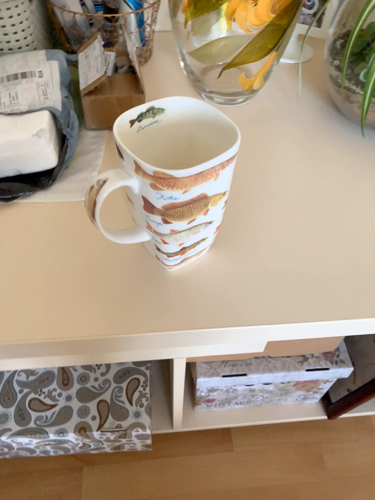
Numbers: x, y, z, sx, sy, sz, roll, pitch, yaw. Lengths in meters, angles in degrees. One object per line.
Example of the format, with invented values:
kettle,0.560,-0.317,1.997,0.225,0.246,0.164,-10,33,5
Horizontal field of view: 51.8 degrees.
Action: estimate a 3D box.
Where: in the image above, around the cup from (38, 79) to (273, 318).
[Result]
cup,-0.025,-0.046,0.333,0.140,0.129,0.101,-28,57,-23
